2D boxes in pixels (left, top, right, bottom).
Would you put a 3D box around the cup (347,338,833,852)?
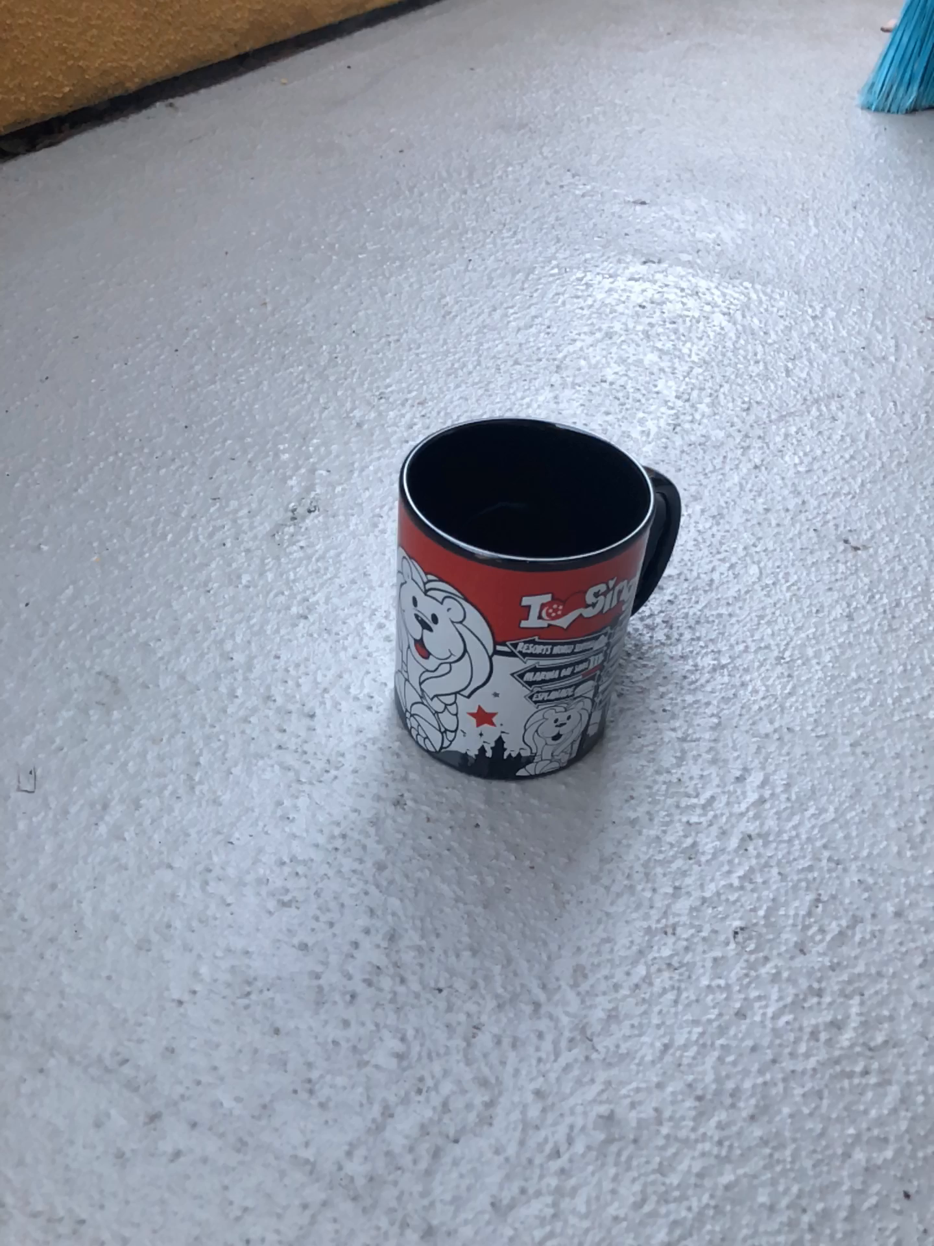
[{"bbox_3d":[0.036,-0.015,0.350,0.130,0.109,0.080,-27,50,-32],"label":"cup"}]
